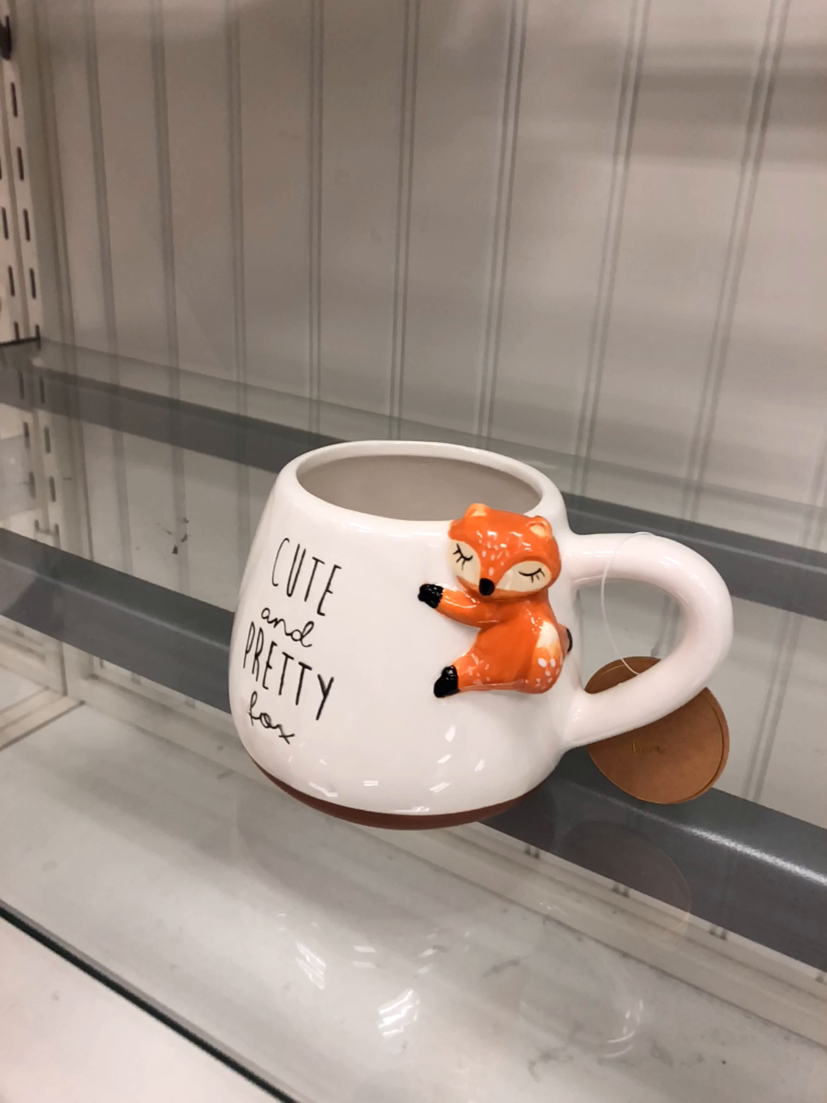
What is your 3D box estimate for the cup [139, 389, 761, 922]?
[{"bbox_3d":[0.014,0.017,0.264,0.143,0.089,0.101,10,23,15],"label":"cup"}]
